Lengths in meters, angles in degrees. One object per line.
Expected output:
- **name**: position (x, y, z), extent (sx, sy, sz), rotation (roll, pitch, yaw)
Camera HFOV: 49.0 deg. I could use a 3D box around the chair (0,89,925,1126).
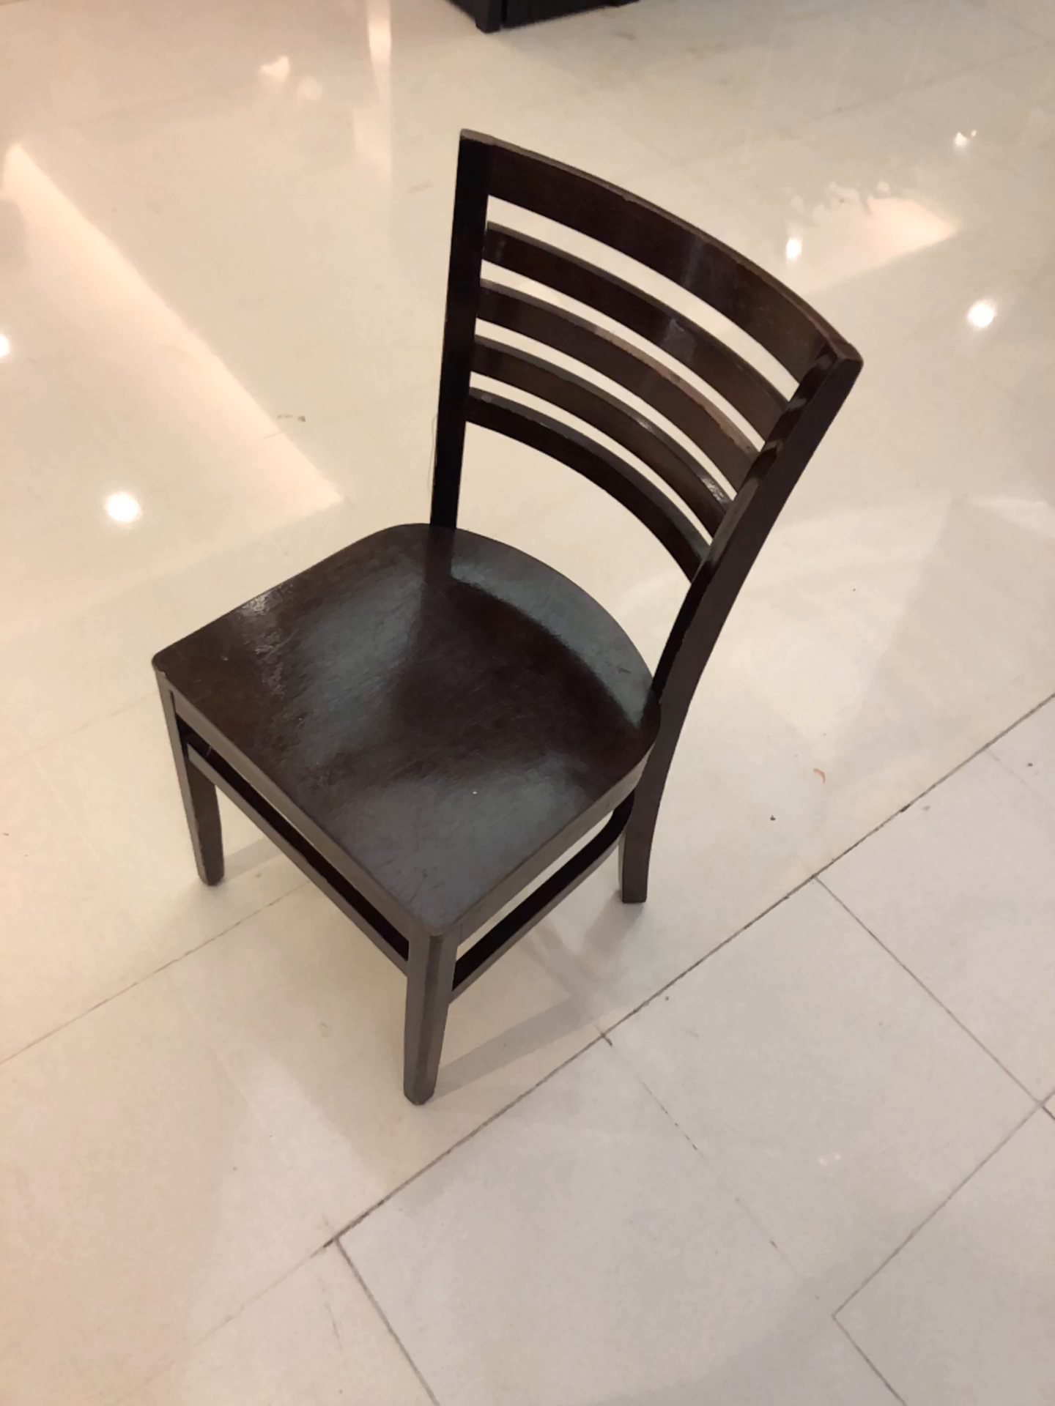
- **chair**: position (-0.074, -0.052, 1.218), extent (0.542, 0.845, 0.461), rotation (-36, 64, -29)
